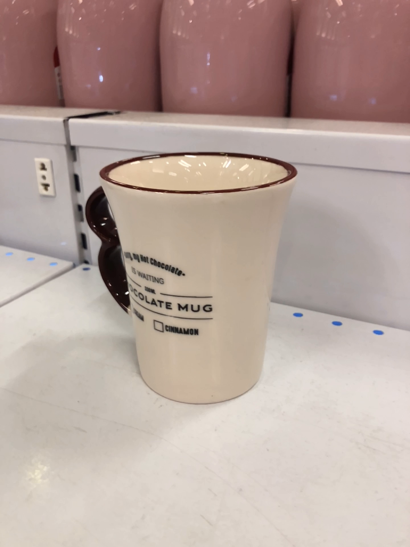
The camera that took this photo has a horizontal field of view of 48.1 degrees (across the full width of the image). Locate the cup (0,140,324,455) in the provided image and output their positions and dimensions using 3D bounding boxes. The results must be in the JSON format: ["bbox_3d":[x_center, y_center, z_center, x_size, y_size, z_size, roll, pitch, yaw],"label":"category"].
[{"bbox_3d":[-0.016,-0.002,0.235,0.120,0.109,0.091,12,27,27],"label":"cup"}]
